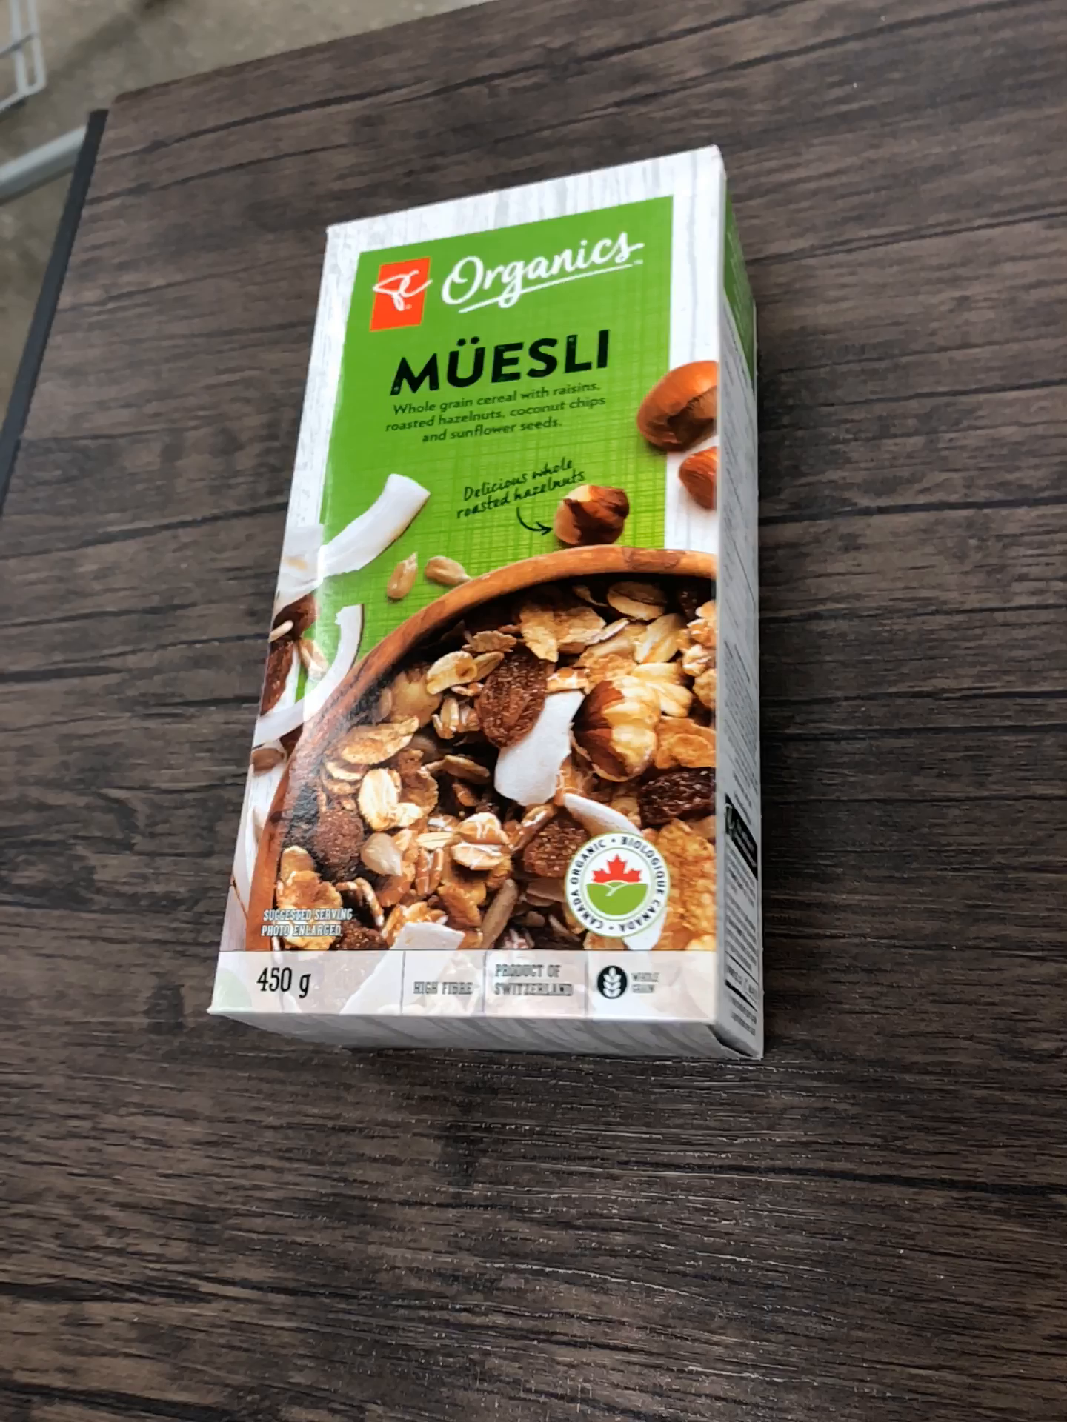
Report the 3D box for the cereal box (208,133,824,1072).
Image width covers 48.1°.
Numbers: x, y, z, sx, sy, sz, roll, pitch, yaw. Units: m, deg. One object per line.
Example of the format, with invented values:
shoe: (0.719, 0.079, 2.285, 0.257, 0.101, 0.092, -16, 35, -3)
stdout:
cereal box: (0.003, -0.026, 0.323, 0.130, 0.070, 0.230, -5, 68, 18)
